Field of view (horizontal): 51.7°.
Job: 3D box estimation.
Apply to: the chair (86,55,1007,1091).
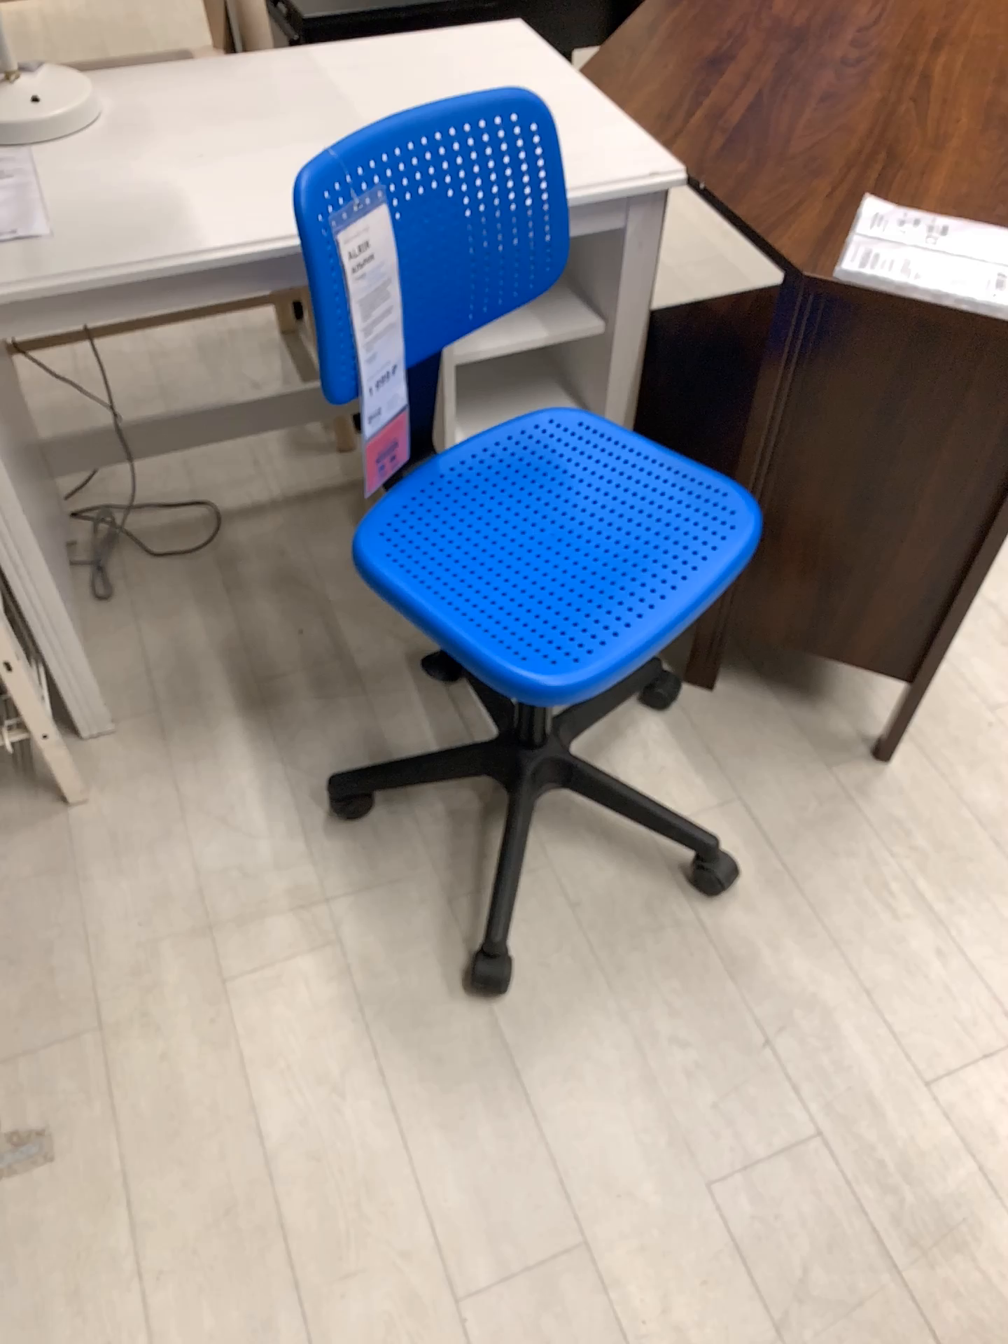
[{"bbox_3d":[0.062,-0.098,1.232,0.621,0.856,0.612,38,58,27],"label":"chair"}]
